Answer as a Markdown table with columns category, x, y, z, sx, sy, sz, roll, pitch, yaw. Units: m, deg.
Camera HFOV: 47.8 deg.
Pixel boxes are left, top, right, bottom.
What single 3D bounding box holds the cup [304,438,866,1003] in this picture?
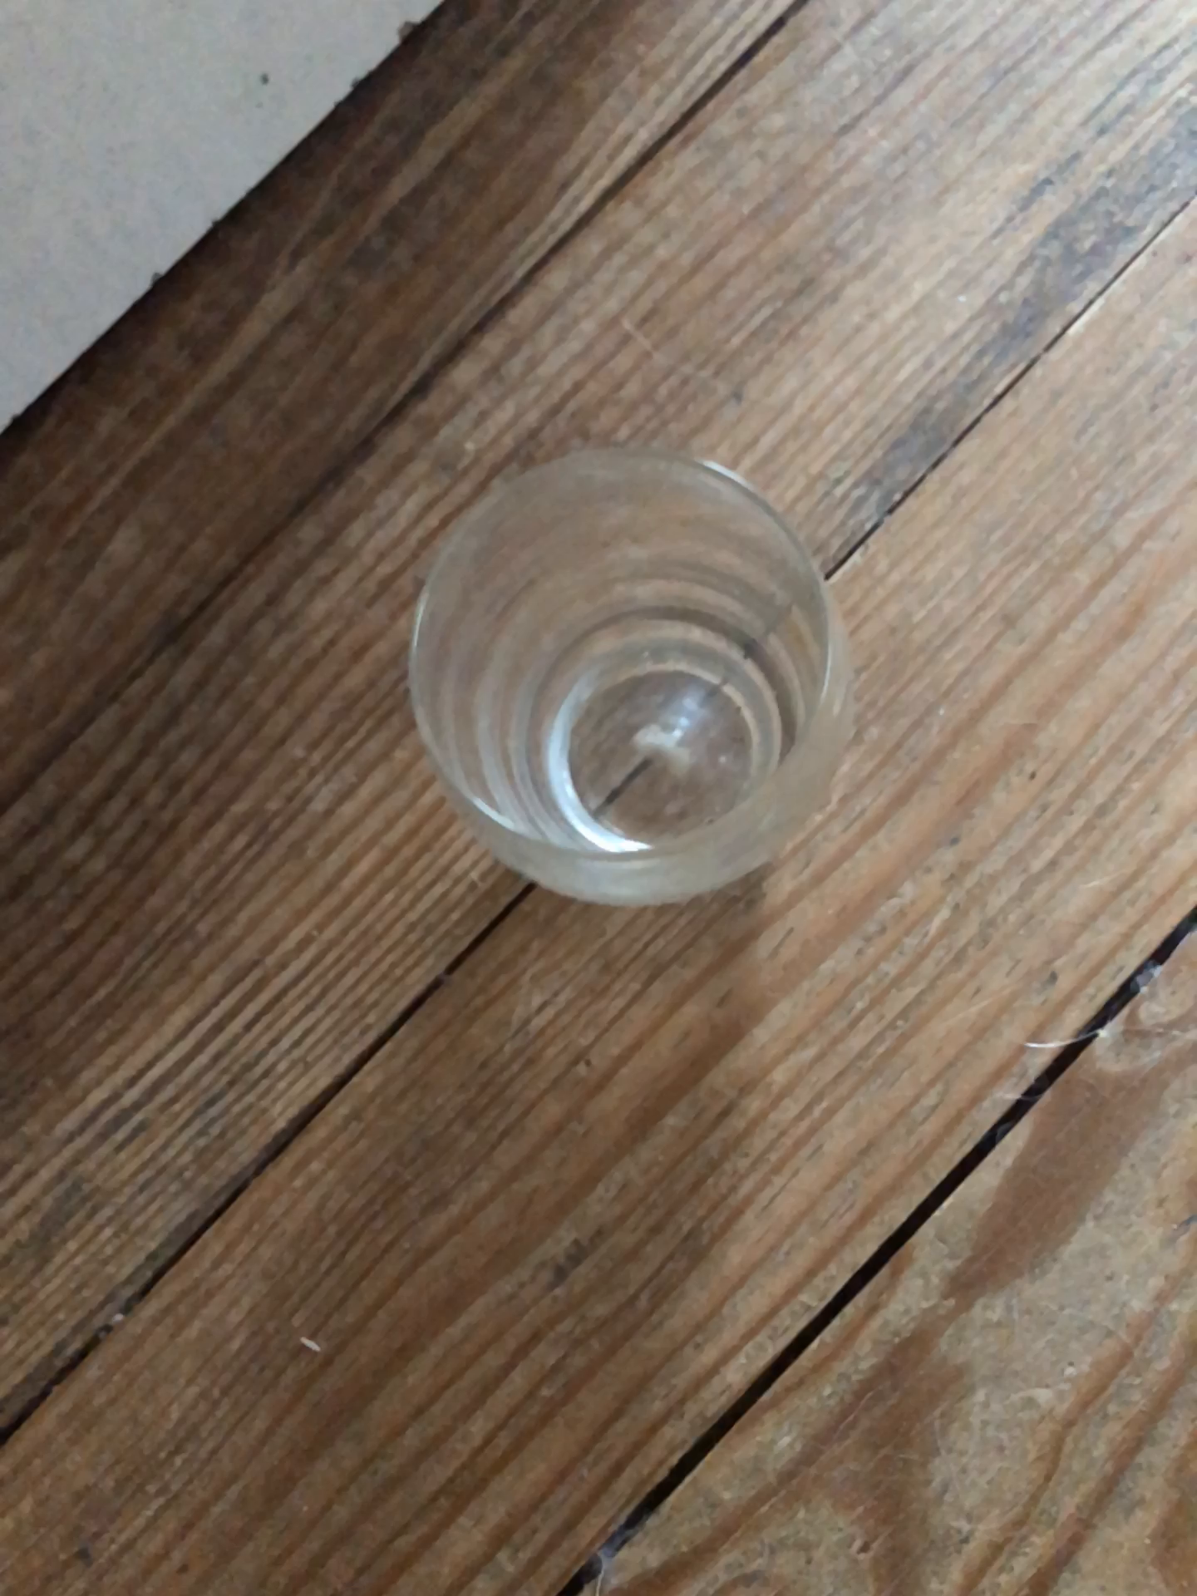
| category | x | y | z | sx | sy | sz | roll | pitch | yaw |
| --- | --- | --- | --- | --- | --- | --- | --- | --- | --- |
| cup | 0.003 | -0.005 | 0.163 | 0.050 | 0.060 | 0.050 | -1 | 78 | 7 |
